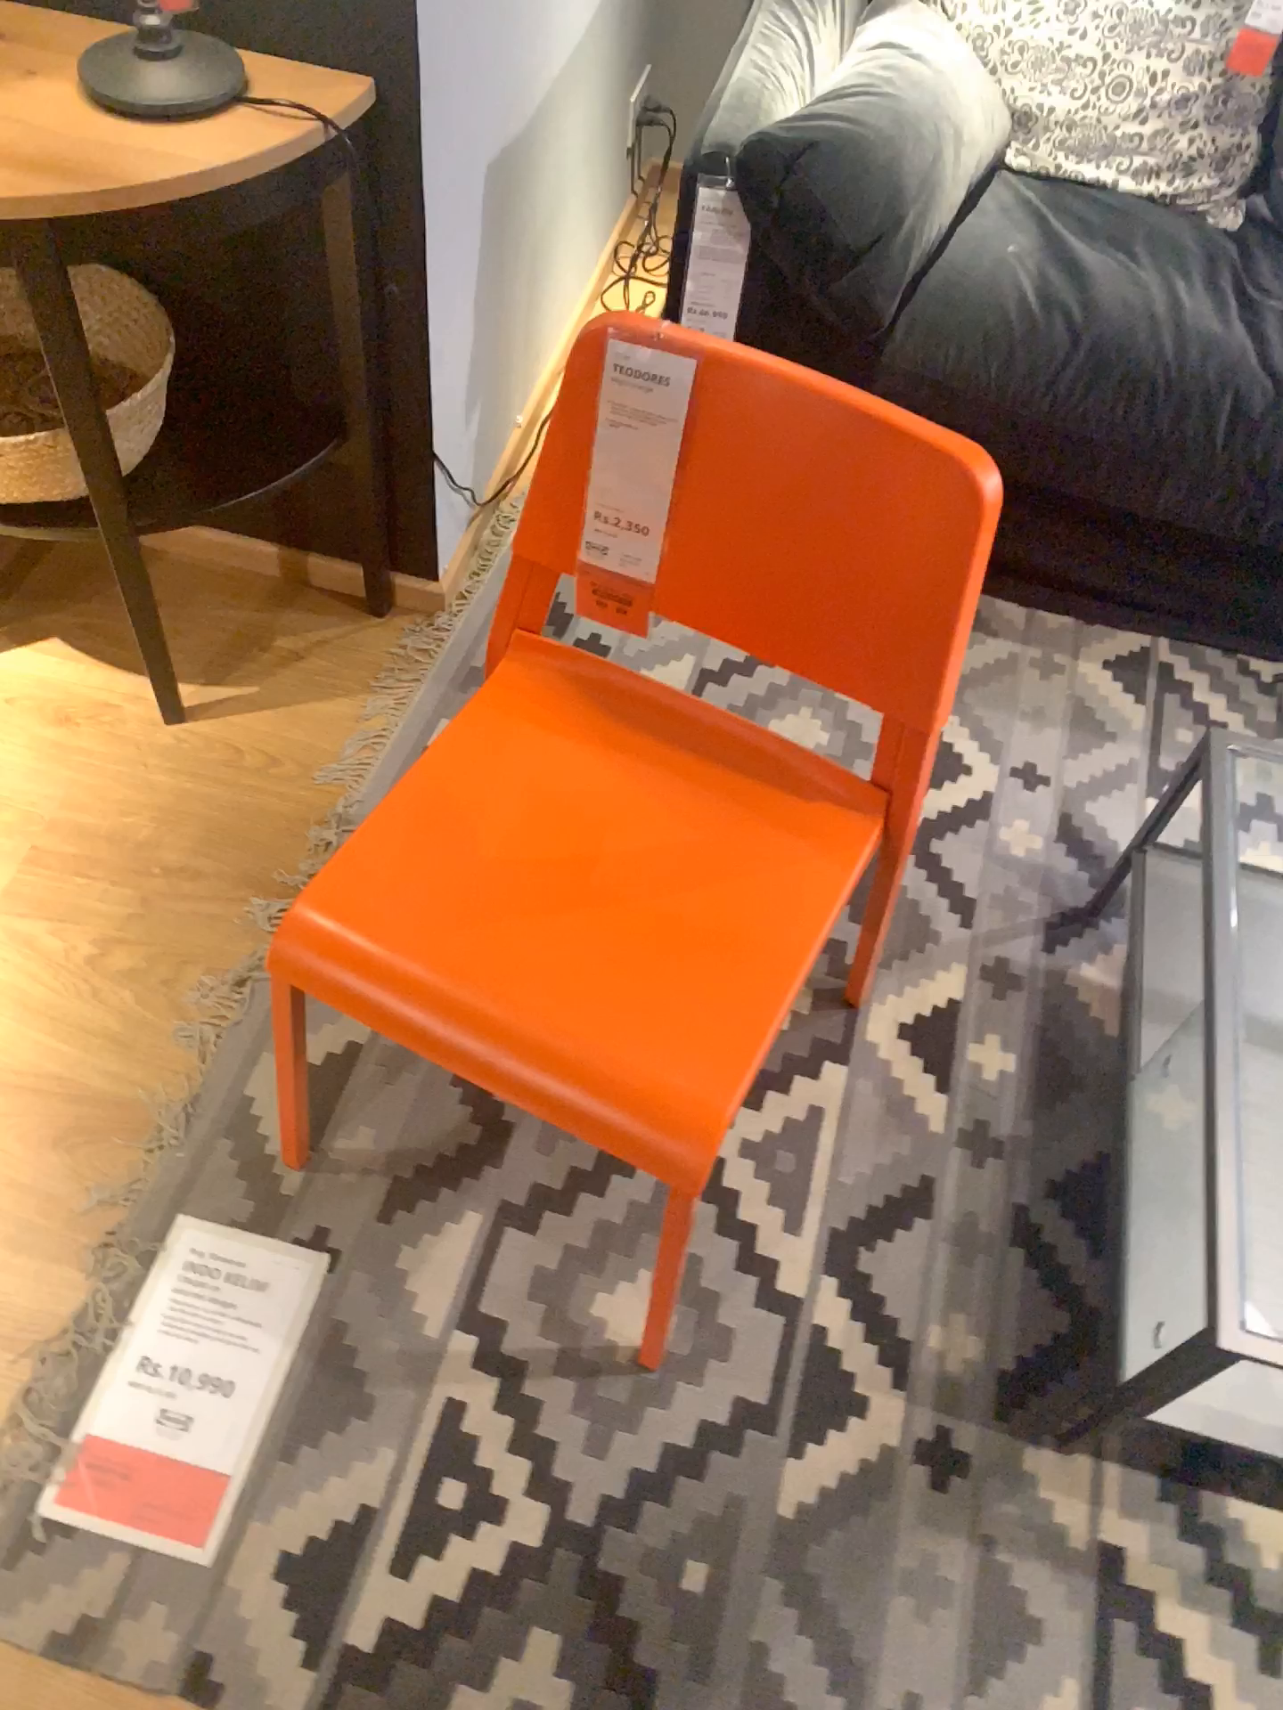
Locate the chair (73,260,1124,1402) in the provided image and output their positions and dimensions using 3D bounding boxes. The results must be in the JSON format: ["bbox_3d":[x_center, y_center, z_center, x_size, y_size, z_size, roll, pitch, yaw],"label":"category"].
[{"bbox_3d":[-0.019,0.012,1.192,0.520,0.728,0.581,25,55,11],"label":"chair"}]
